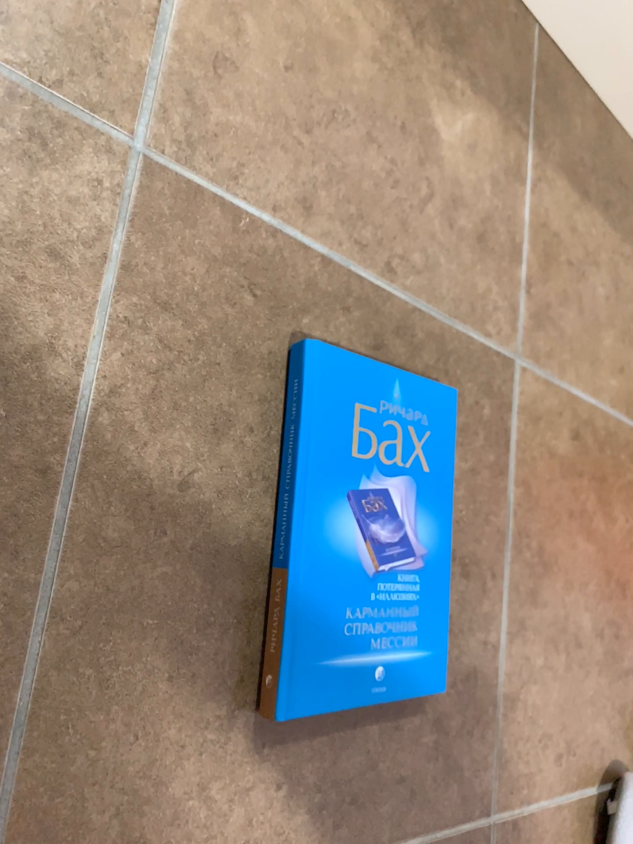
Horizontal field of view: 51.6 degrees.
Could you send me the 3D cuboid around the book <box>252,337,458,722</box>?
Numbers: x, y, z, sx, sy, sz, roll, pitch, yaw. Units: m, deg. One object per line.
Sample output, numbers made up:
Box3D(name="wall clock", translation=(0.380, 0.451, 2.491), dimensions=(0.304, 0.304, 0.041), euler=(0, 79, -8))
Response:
Box3D(name="book", translation=(0.028, 0.054, 0.336), dimensions=(0.123, 0.015, 0.169), euler=(14, 76, -41))
